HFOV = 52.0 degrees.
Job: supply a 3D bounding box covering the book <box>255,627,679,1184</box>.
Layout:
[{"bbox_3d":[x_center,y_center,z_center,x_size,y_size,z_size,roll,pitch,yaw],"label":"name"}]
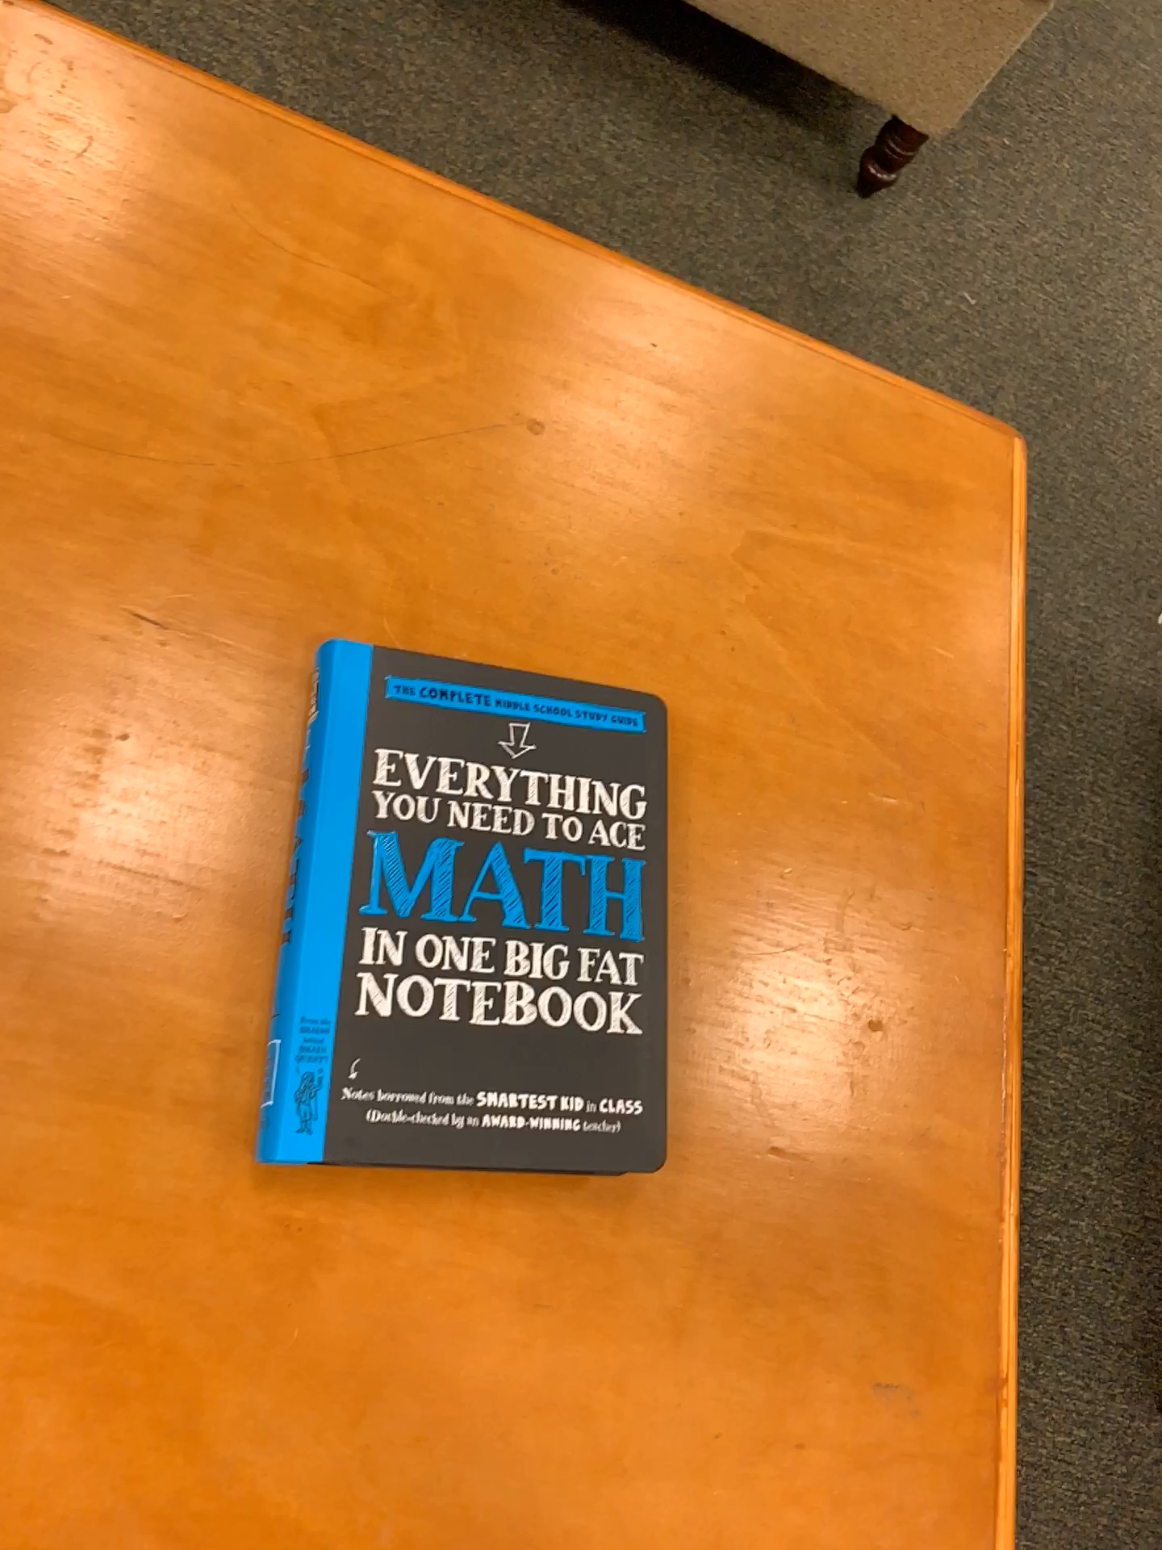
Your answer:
[{"bbox_3d":[-0.041,0.057,0.493,0.157,0.050,0.208,8,73,-22],"label":"book"}]
